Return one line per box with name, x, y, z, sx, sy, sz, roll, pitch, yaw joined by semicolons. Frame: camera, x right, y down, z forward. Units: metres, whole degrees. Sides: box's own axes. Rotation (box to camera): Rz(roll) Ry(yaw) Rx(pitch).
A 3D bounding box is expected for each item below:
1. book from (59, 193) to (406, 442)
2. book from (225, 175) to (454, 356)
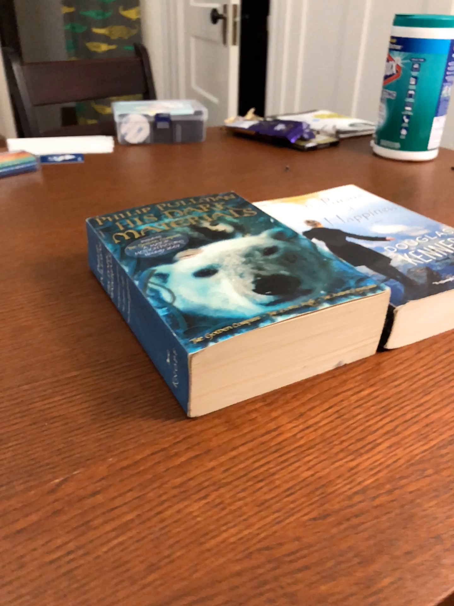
book;-0.015;-0.017;0.418;0.180;0.050;0.251;-14;34;-25
book;0.137;-0.057;0.481;0.180;0.040;0.251;-14;34;-25
